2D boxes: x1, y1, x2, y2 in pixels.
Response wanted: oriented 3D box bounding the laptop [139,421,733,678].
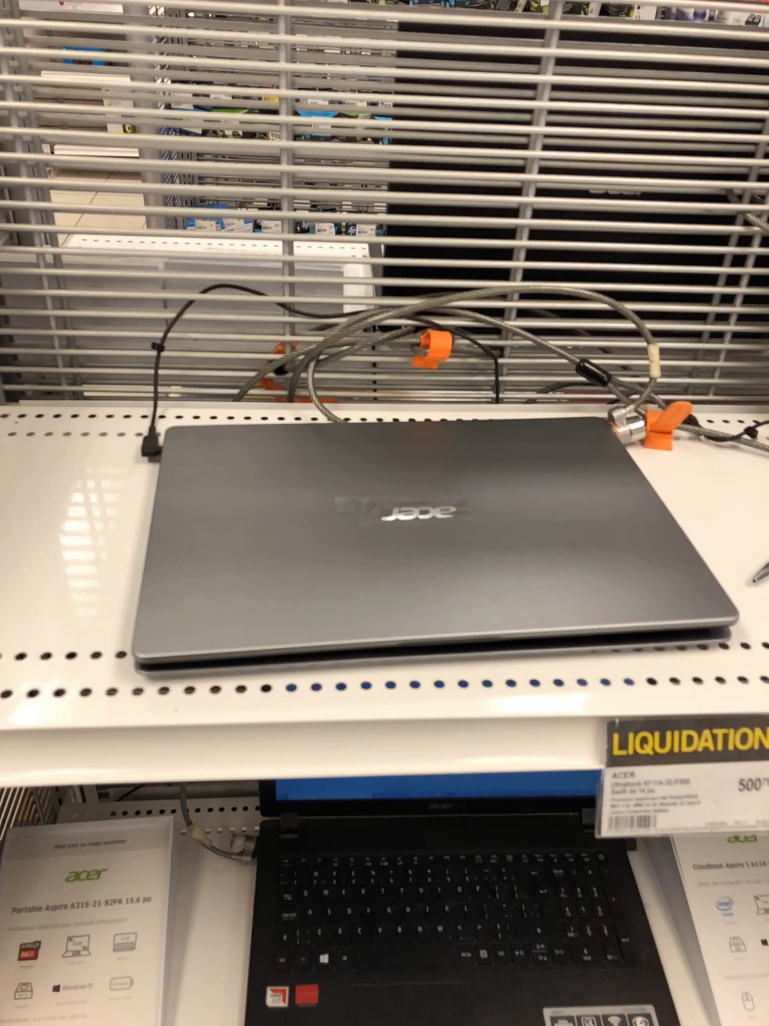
[{"bbox_3d":[0.020,0.007,0.527,0.316,0.006,0.220,-2,38,-7],"label":"laptop"}]
